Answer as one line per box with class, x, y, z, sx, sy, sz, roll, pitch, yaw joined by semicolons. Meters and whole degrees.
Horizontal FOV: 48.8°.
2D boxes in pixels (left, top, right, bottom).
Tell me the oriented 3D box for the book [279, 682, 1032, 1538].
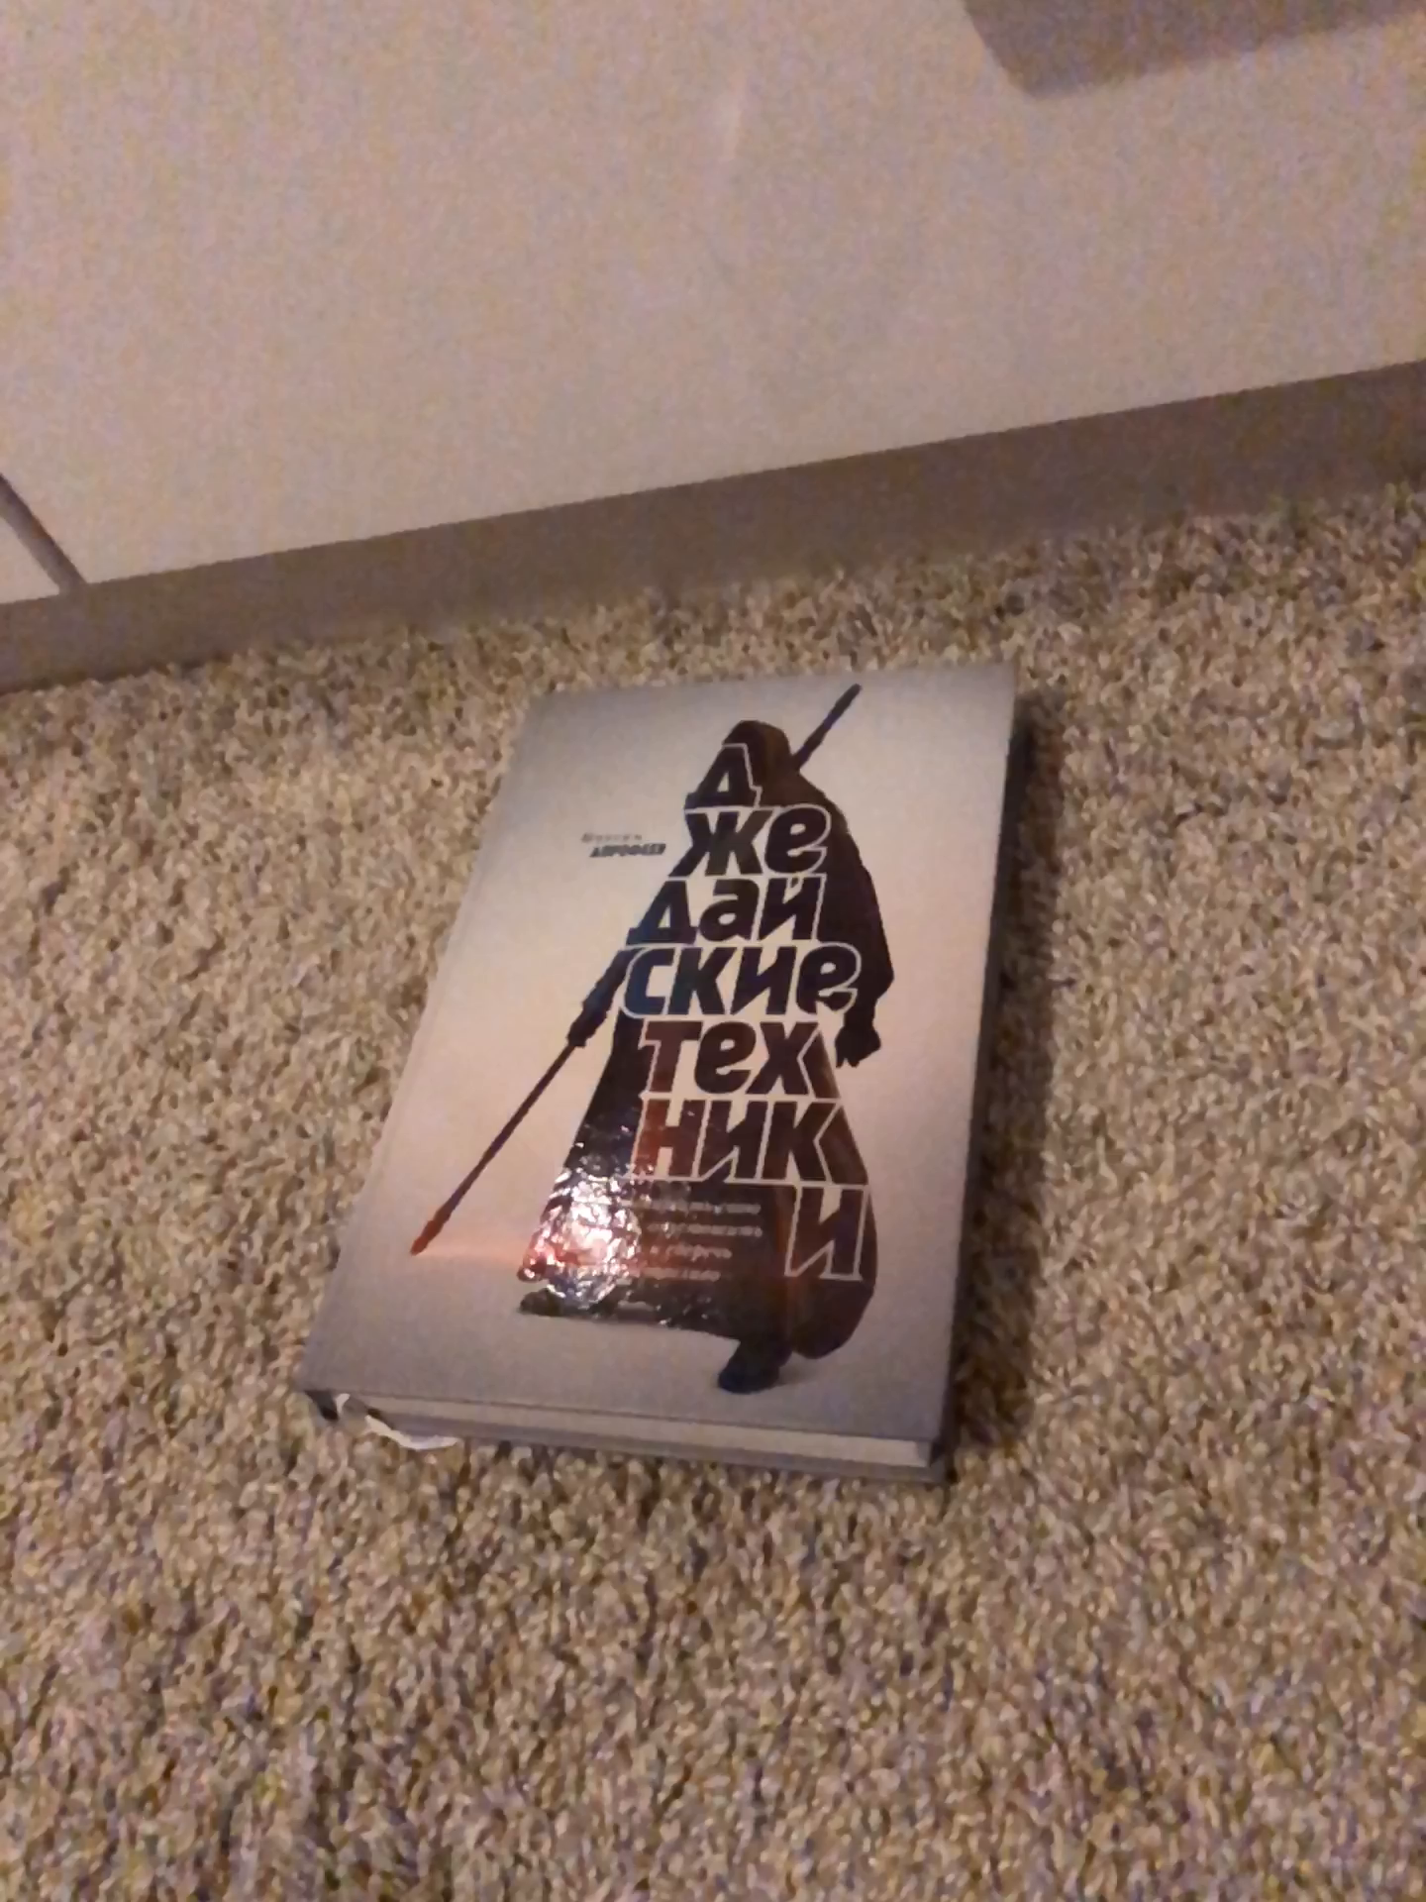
book;-0.003;0.025;0.401;0.150;0.026;0.221;-1;54;19
